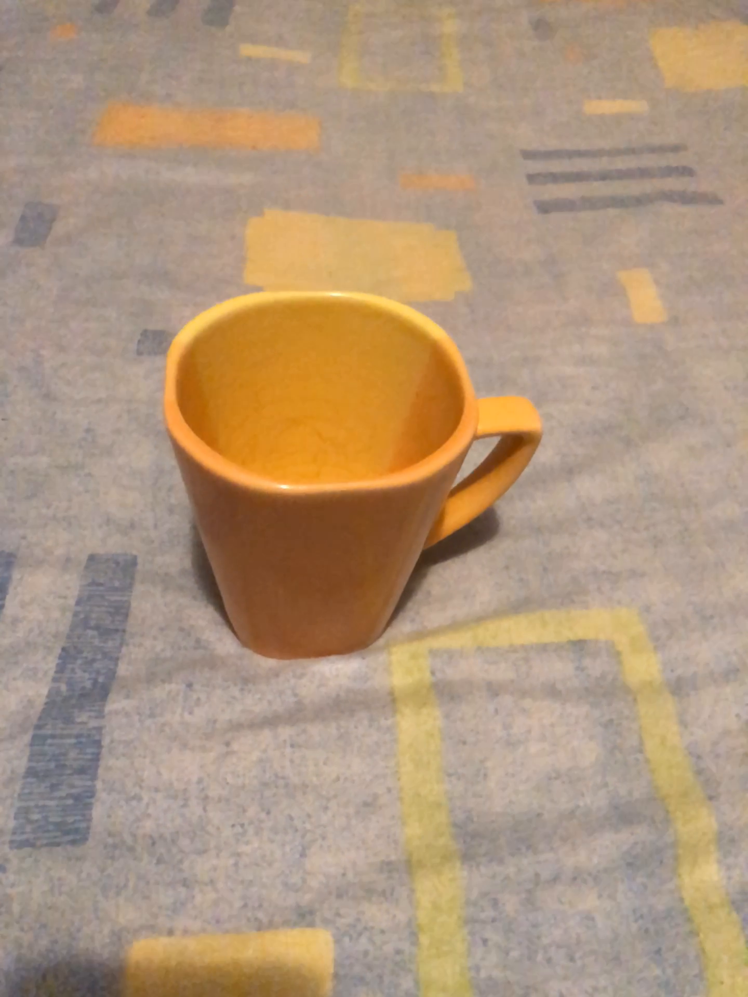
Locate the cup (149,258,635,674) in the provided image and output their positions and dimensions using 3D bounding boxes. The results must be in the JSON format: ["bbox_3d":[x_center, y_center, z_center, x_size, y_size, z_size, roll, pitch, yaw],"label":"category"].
[{"bbox_3d":[-0.003,-0.011,0.245,0.111,0.082,0.084,-3,49,-10],"label":"cup"}]
